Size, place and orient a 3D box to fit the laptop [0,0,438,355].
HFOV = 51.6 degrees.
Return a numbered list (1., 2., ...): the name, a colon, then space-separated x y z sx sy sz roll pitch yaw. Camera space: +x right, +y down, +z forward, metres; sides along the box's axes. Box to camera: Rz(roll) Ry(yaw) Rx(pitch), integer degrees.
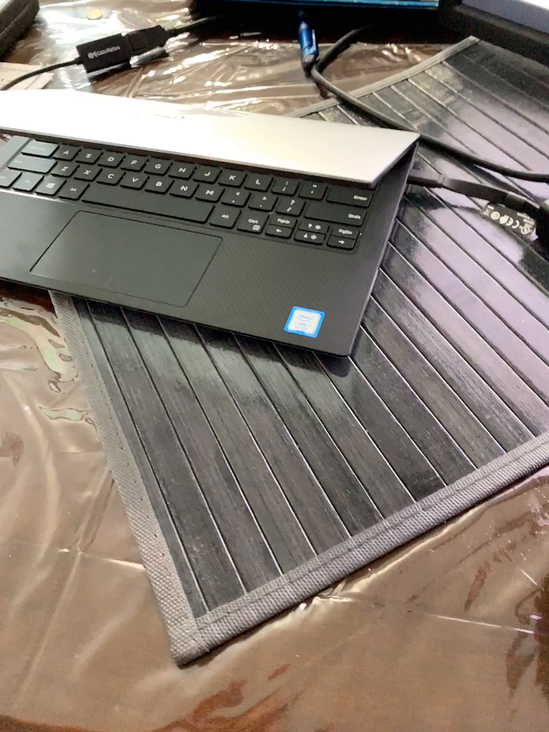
1. laptop: -0.072 -0.134 0.336 0.290 0.081 0.183 13 57 14
